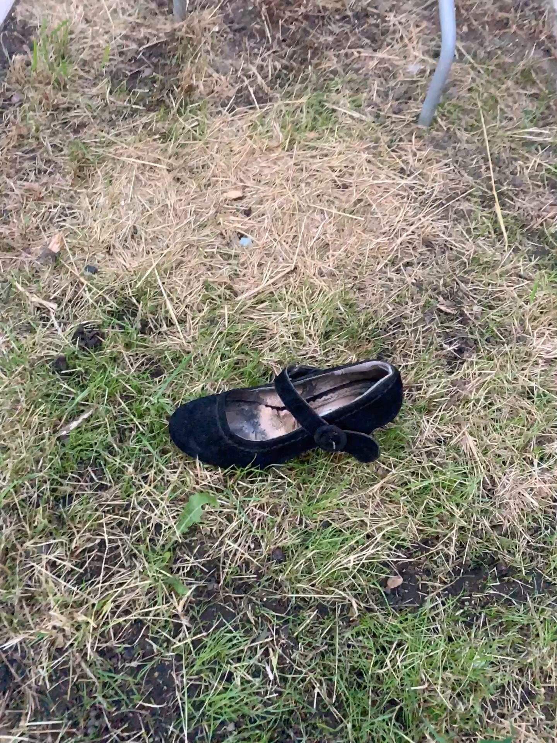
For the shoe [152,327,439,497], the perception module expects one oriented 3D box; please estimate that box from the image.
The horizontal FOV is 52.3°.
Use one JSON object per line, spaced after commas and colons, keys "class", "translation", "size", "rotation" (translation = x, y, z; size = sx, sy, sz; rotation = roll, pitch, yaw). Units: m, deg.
{"class": "shoe", "translation": [0.009, 0.041, 0.567], "size": [0.250, 0.109, 0.111], "rotation": [-5, 62, -7]}
